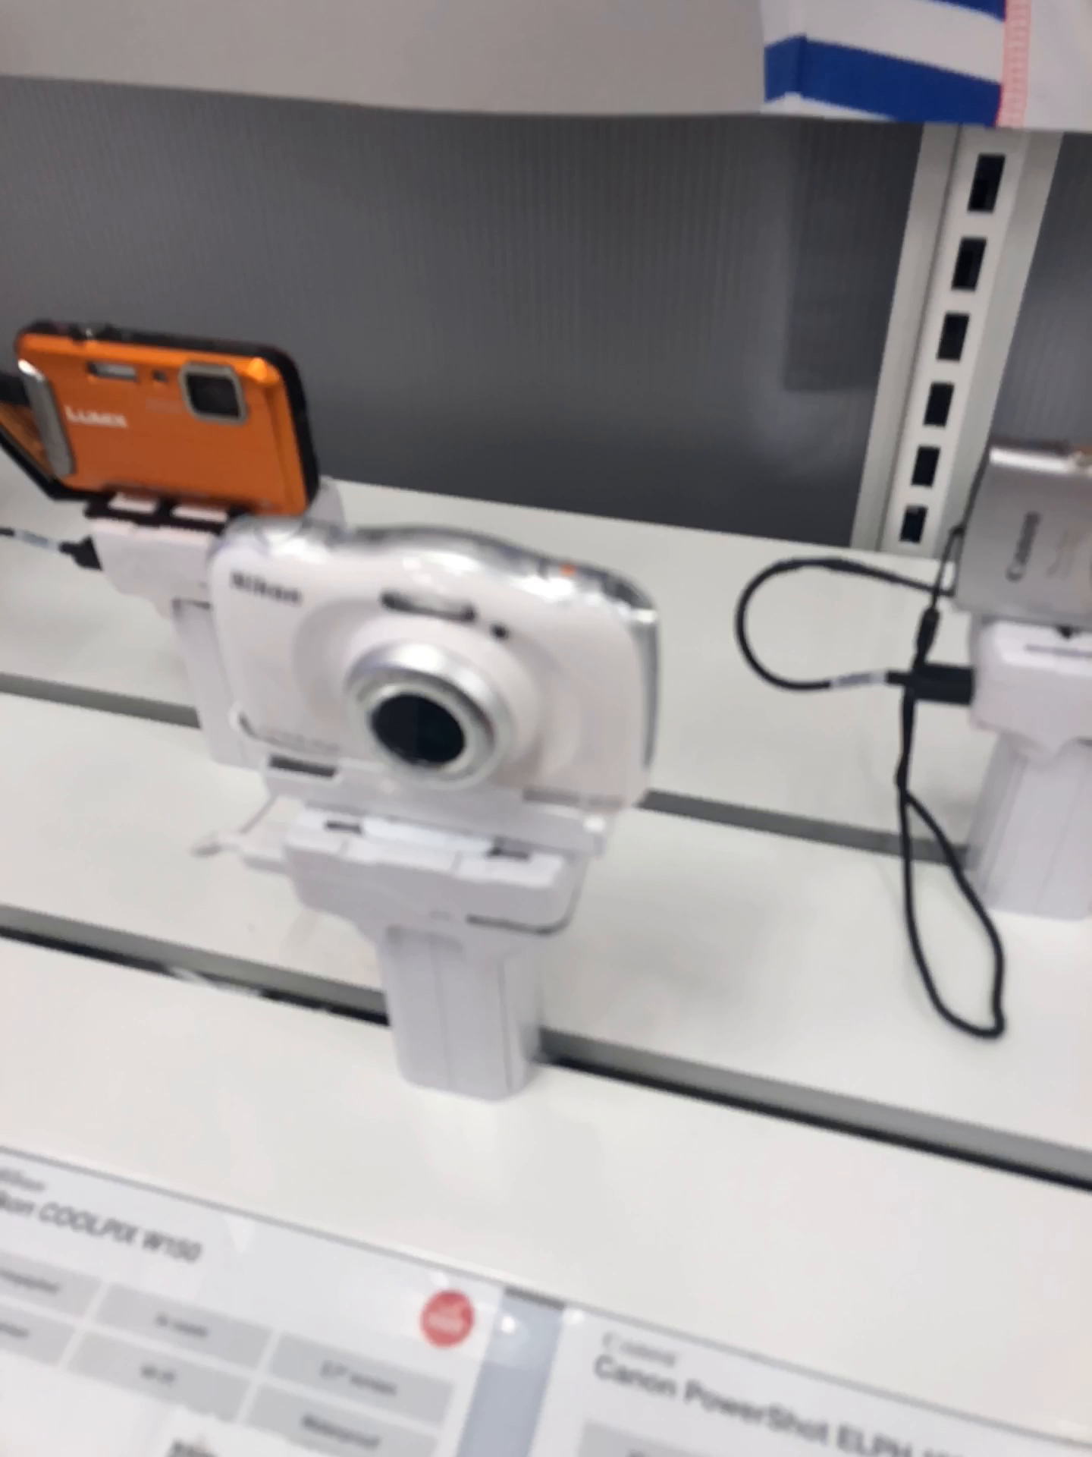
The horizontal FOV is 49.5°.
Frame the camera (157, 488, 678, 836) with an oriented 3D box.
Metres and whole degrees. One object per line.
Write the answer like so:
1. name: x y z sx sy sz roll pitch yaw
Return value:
1. camera: -0.027 -0.016 0.269 0.105 0.056 0.032 9 43 12
